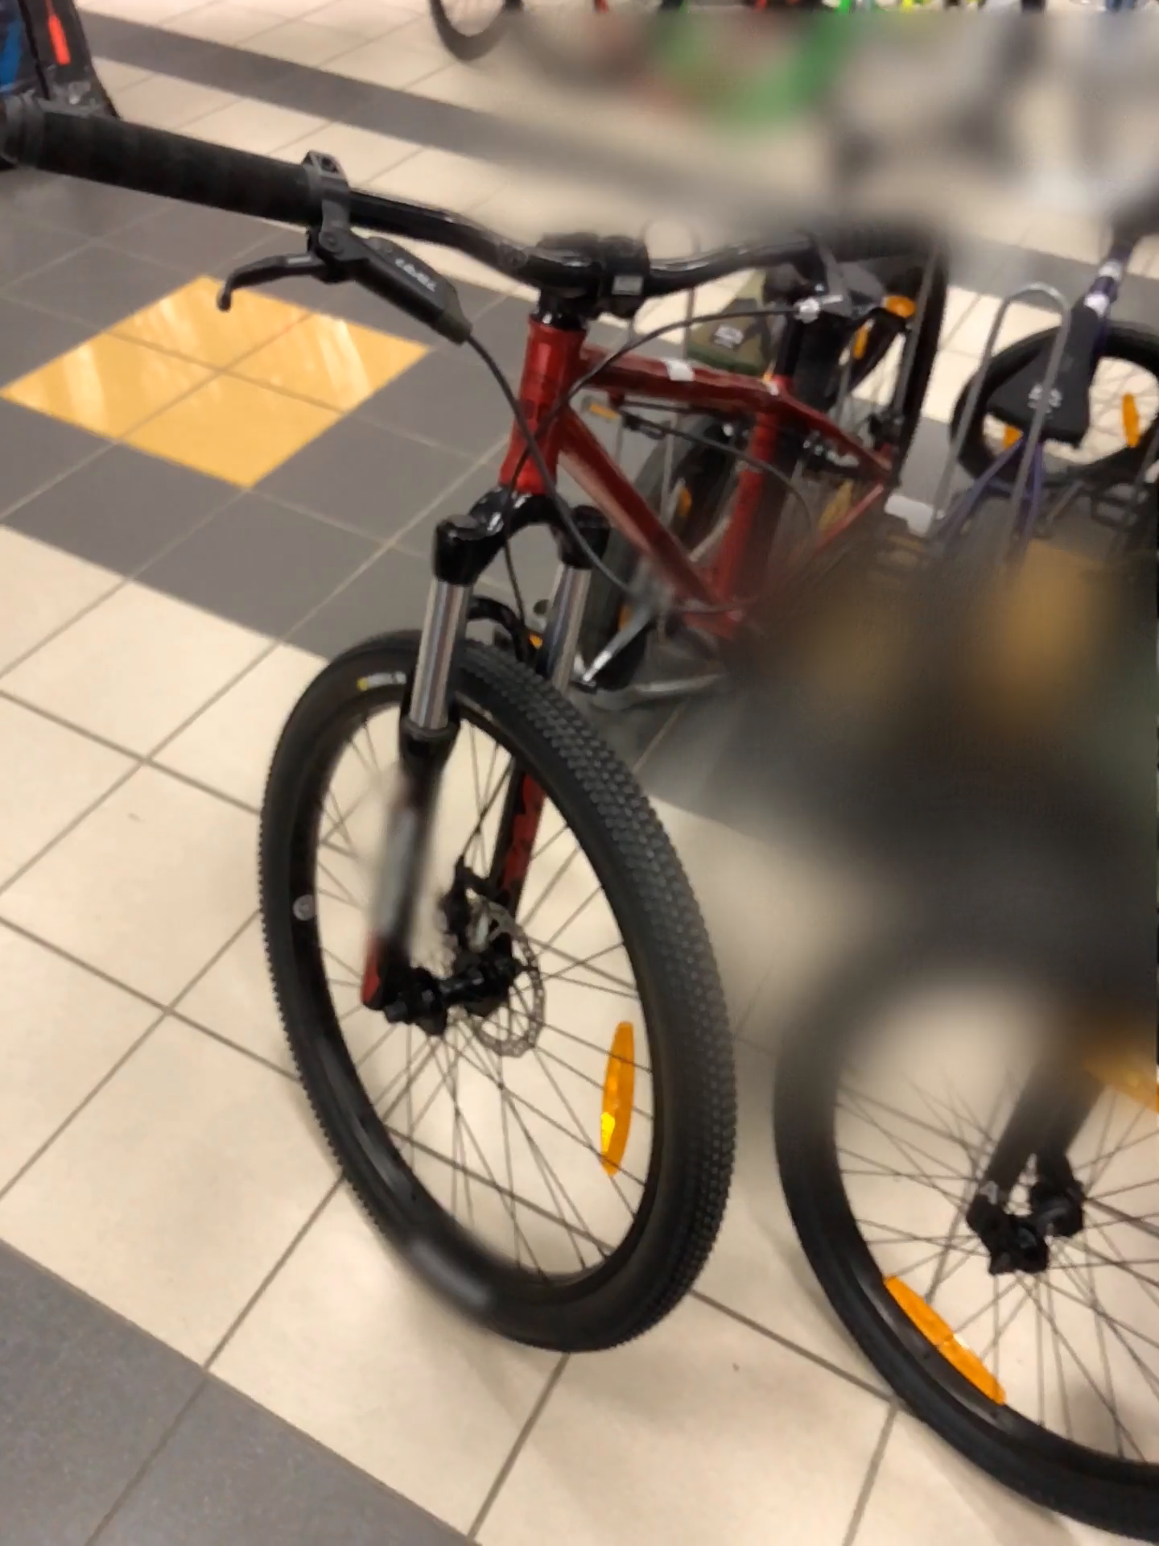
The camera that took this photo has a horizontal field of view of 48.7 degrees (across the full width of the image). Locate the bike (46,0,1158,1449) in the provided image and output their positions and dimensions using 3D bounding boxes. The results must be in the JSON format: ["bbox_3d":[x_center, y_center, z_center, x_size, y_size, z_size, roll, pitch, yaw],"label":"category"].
[{"bbox_3d":[0.238,-0.320,1.359,0.712,0.998,1.343,17,45,13],"label":"bike"}]
